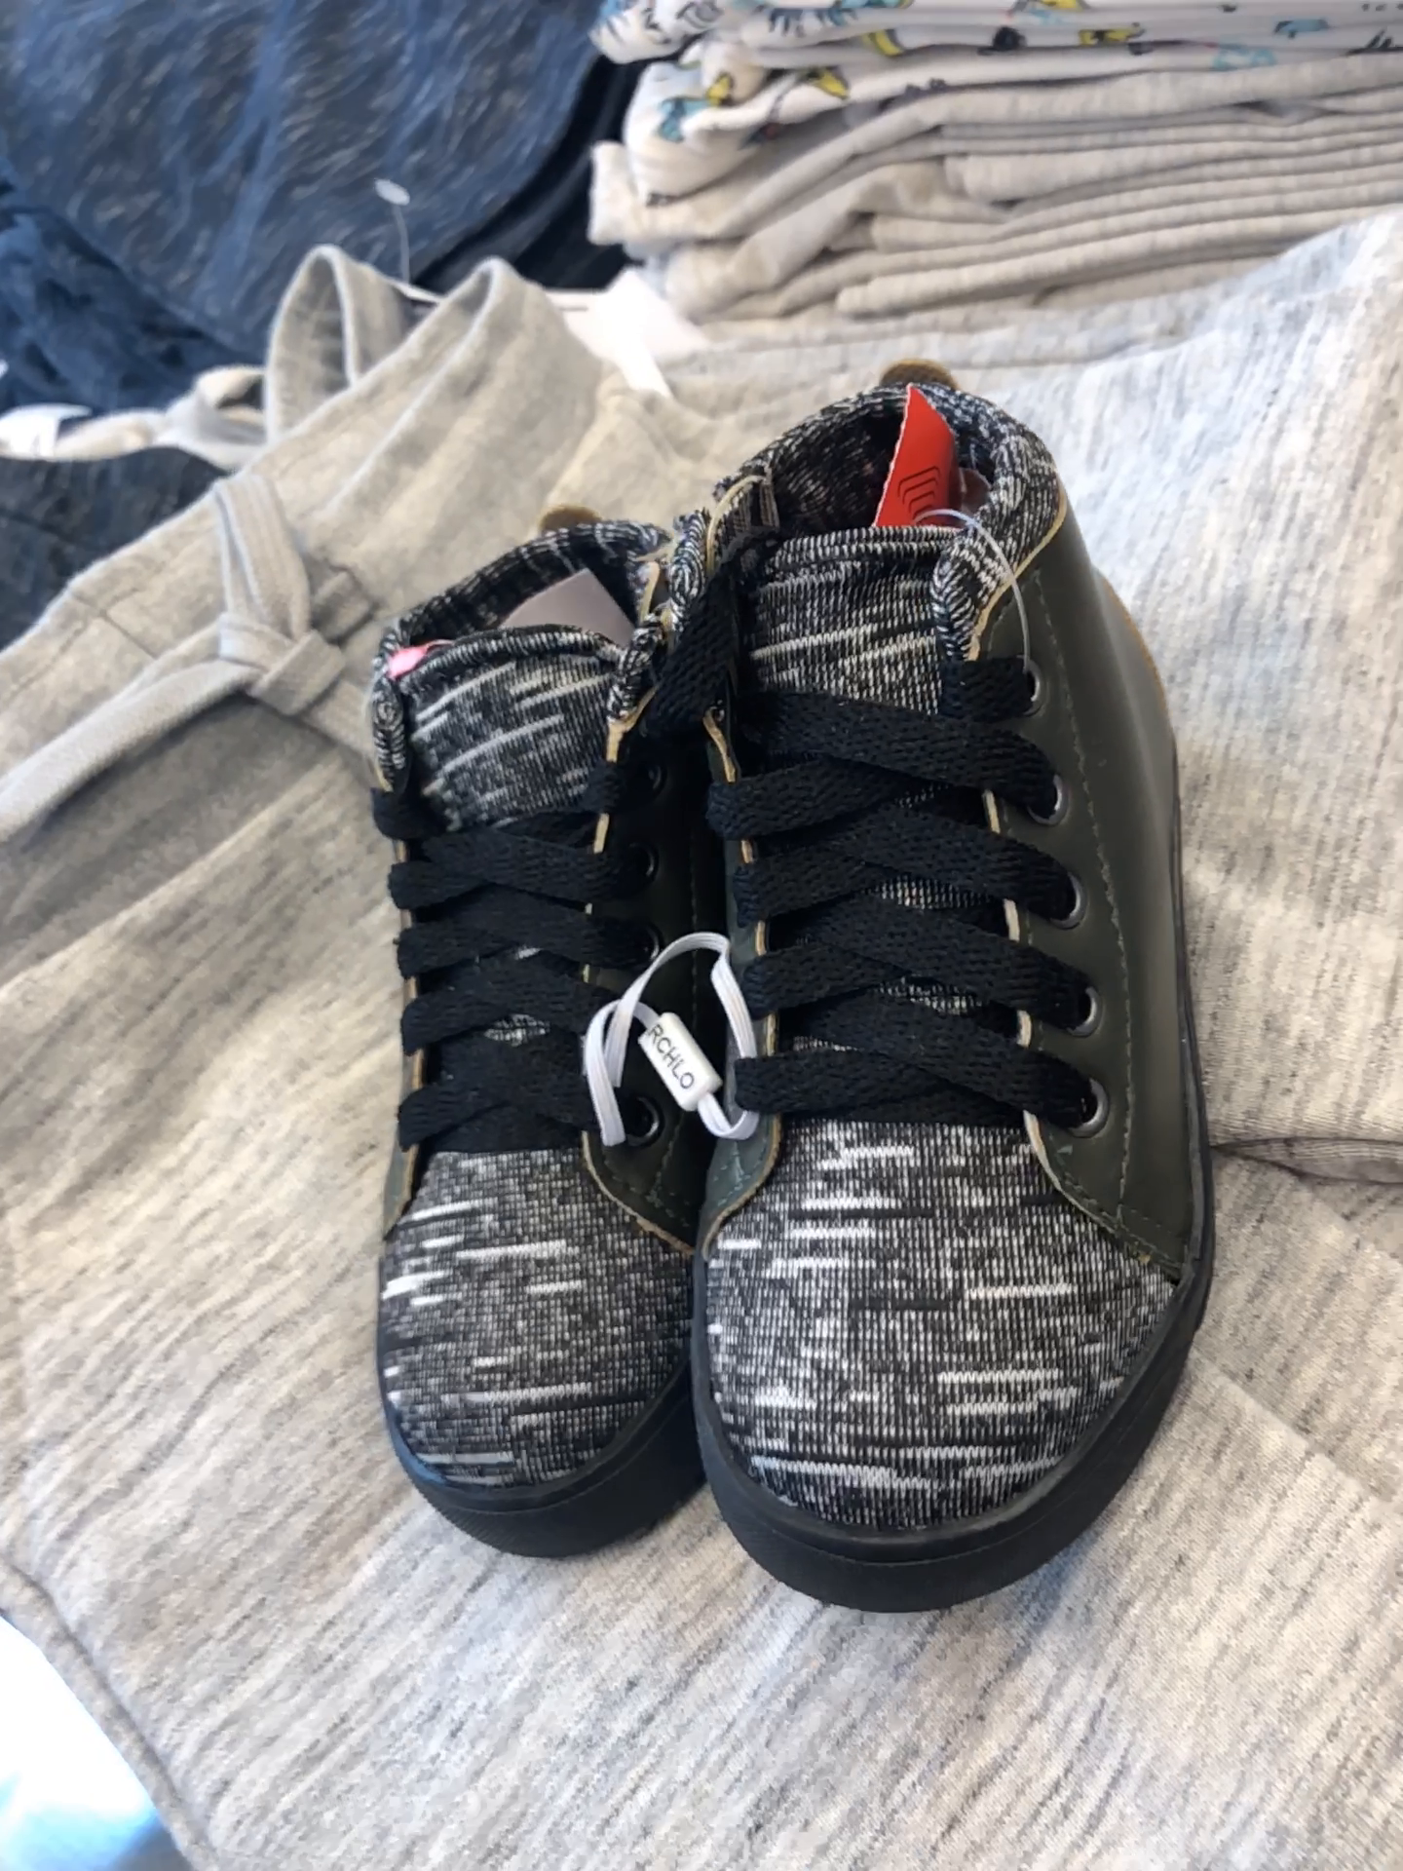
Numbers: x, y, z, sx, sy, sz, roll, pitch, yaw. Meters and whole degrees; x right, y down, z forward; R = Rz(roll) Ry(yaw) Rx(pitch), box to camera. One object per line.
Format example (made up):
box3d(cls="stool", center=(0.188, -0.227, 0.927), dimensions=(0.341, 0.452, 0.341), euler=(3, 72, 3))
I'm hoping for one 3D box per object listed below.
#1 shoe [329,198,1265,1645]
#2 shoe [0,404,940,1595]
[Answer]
box3d(cls="shoe", center=(0.029, -0.006, 0.221), dimensions=(0.080, 0.089, 0.171), euler=(-5, 53, 22))
box3d(cls="shoe", center=(-0.020, 0.008, 0.258), dimensions=(0.080, 0.089, 0.161), euler=(-3, 54, 24))
